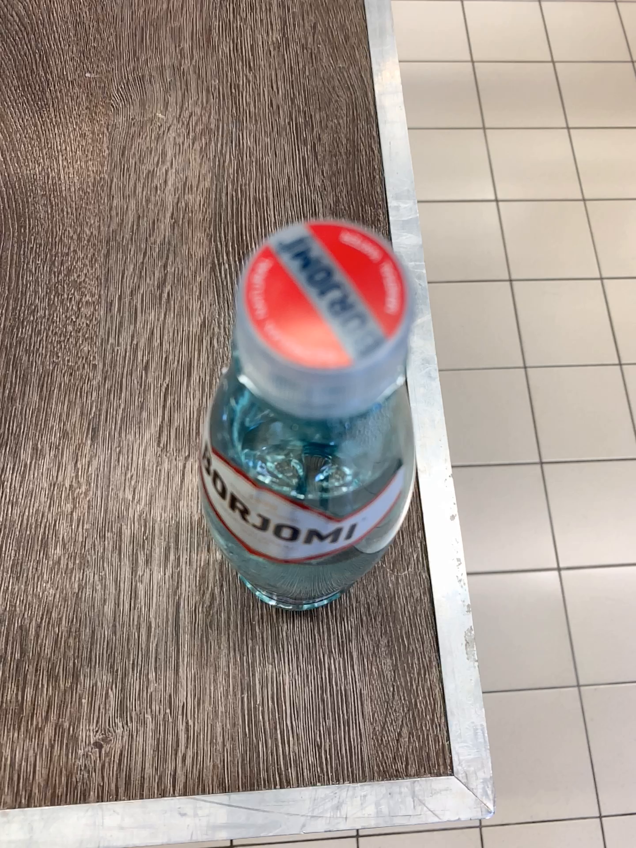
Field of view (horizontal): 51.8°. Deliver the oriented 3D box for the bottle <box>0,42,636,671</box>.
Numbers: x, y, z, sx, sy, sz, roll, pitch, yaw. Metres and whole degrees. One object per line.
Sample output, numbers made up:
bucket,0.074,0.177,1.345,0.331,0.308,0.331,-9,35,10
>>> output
bottle,-0.006,0.020,0.213,0.080,0.240,0.070,36,73,9
